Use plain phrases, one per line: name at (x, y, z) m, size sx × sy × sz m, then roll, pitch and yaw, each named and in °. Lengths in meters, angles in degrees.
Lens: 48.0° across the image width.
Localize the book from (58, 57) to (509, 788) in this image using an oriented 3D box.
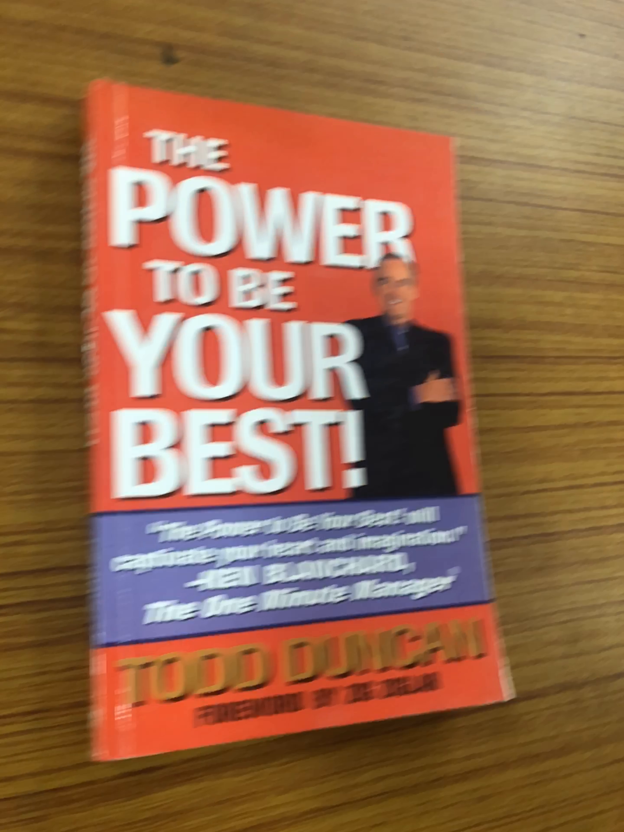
book at (-0.010, -0.003, 0.250) m, size 0.150 × 0.030 × 0.220 m, roll 0°, pitch 82°, yaw -21°
